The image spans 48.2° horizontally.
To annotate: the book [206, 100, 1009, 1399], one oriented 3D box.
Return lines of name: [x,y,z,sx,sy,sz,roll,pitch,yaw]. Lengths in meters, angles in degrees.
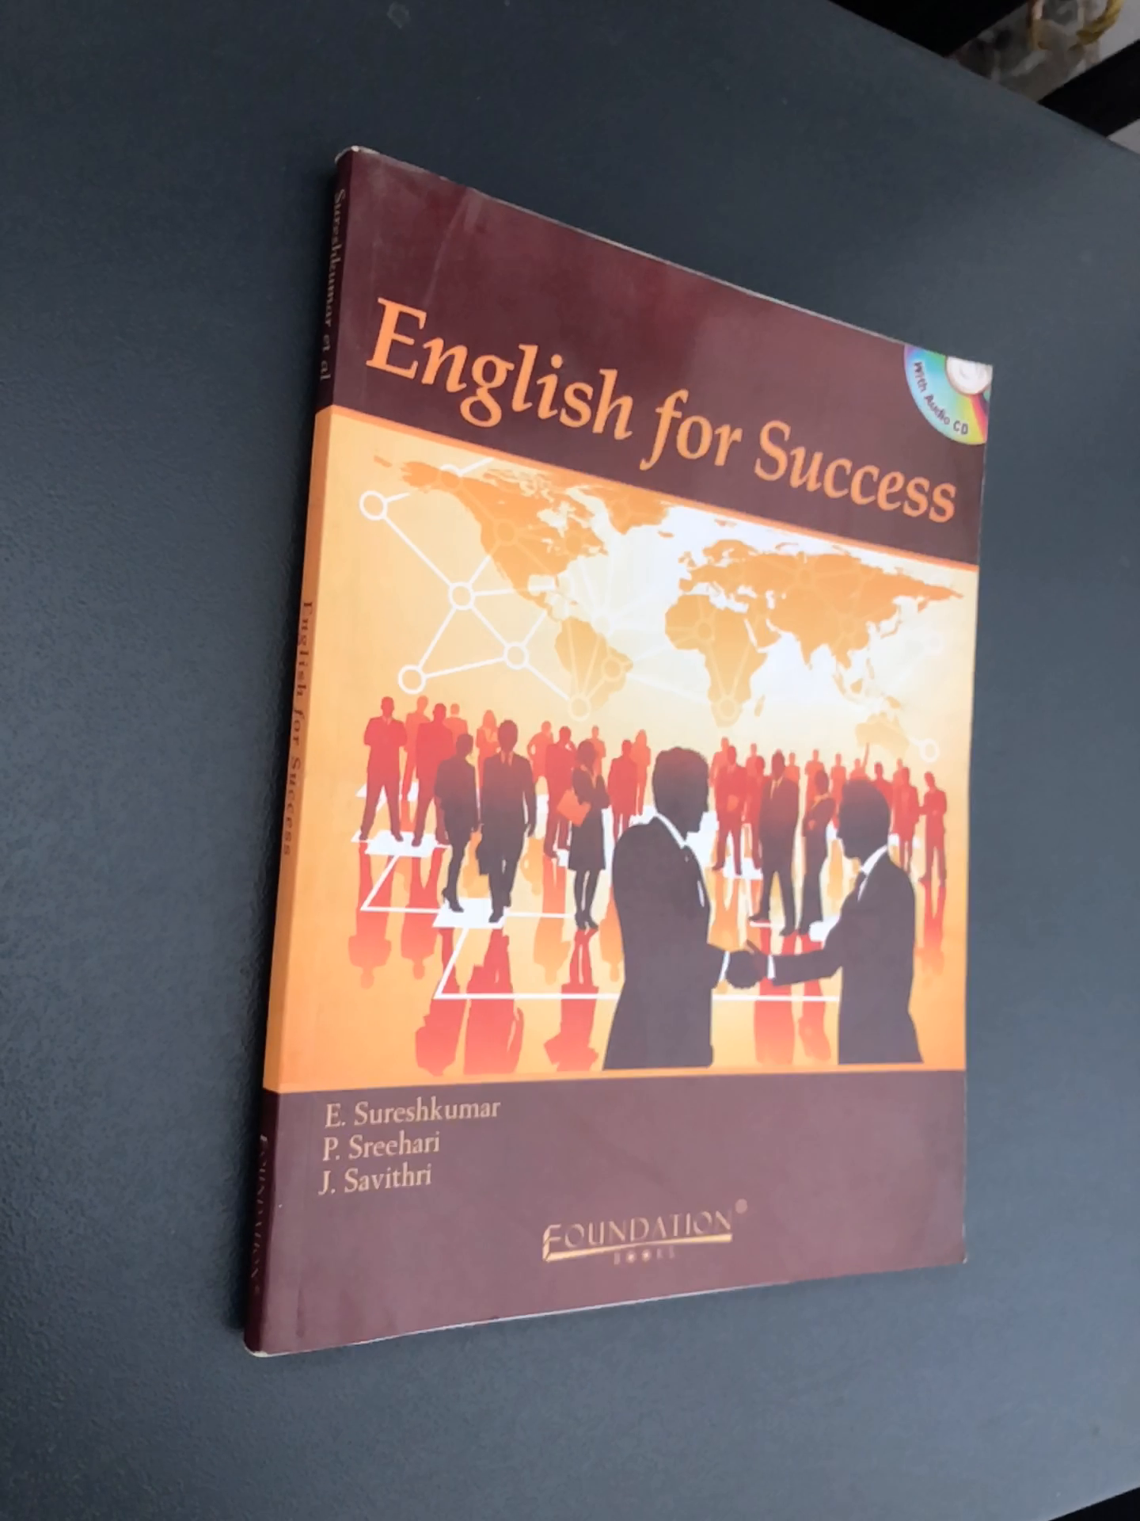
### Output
book: [0.024,0.001,0.295,0.191,0.030,0.240,6,83,-30]
